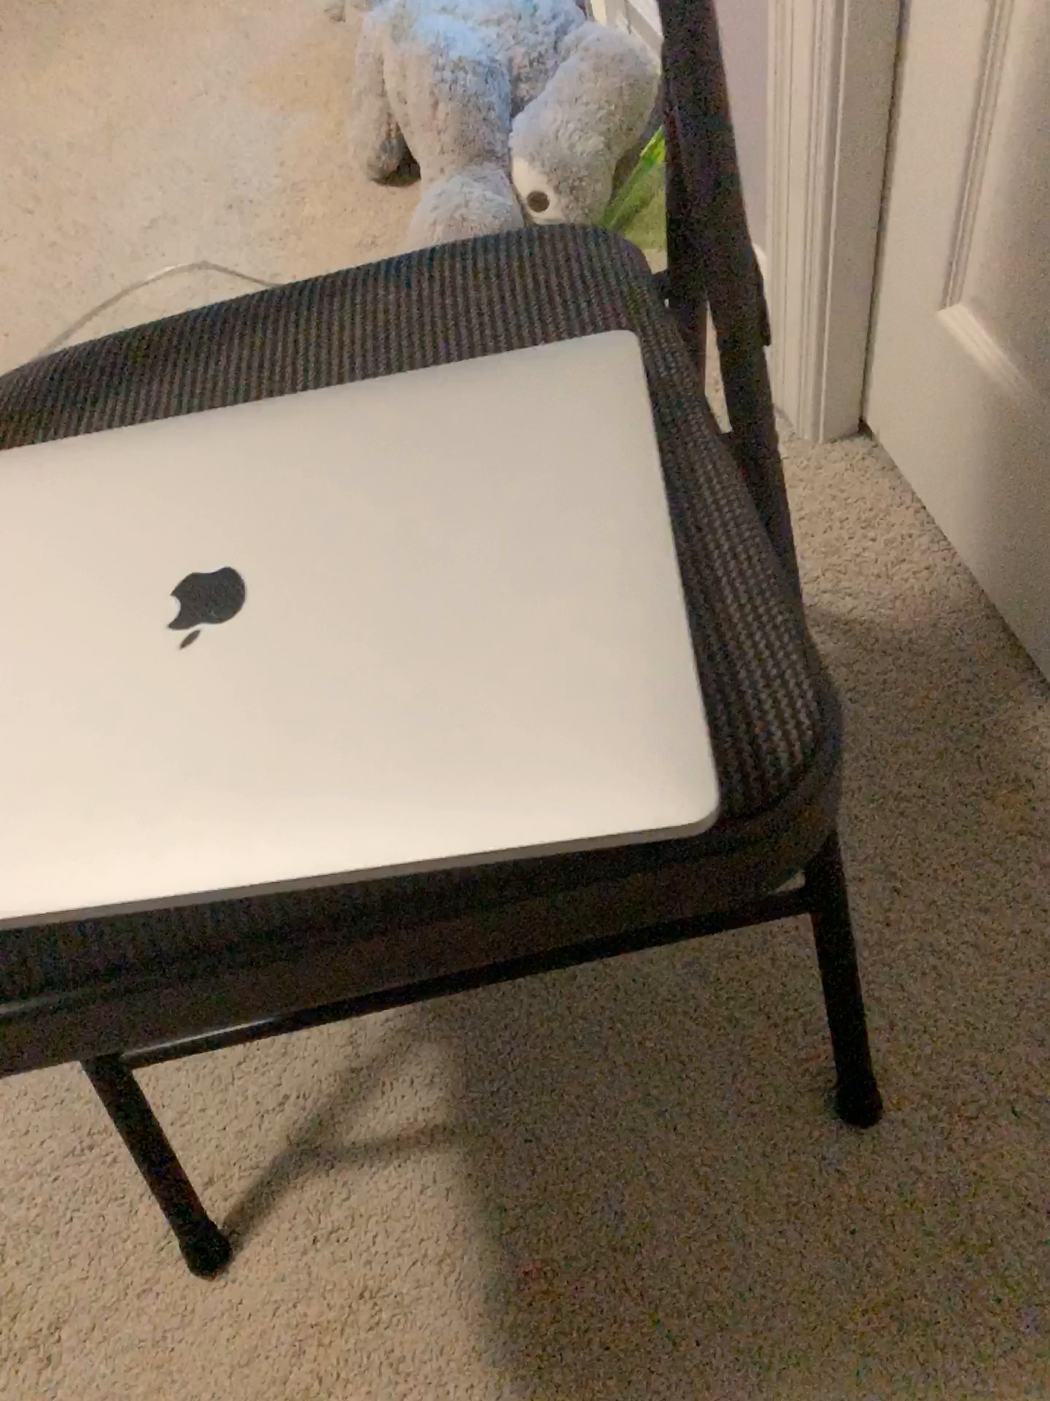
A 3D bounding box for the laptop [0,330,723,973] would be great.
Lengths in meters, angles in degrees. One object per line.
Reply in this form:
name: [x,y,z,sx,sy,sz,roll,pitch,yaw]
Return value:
laptop: [-0.114,-0.030,0.388,0.332,0.001,0.225,-9,55,8]
